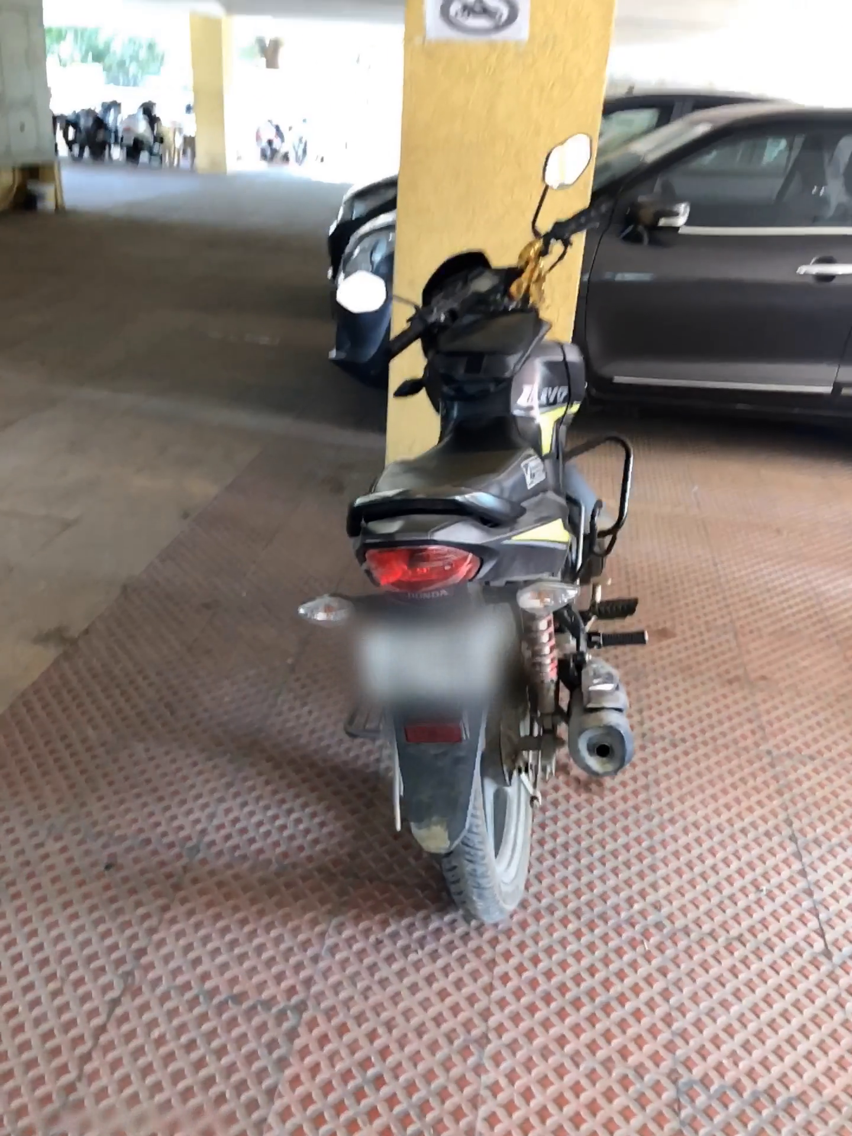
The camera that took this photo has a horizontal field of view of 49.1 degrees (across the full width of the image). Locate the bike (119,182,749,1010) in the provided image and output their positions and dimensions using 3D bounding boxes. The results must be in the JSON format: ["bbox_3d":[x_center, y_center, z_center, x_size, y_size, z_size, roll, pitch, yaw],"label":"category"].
[{"bbox_3d":[0.103,-0.167,2.014,0.716,1.089,1.628,7,27,7],"label":"bike"}]
